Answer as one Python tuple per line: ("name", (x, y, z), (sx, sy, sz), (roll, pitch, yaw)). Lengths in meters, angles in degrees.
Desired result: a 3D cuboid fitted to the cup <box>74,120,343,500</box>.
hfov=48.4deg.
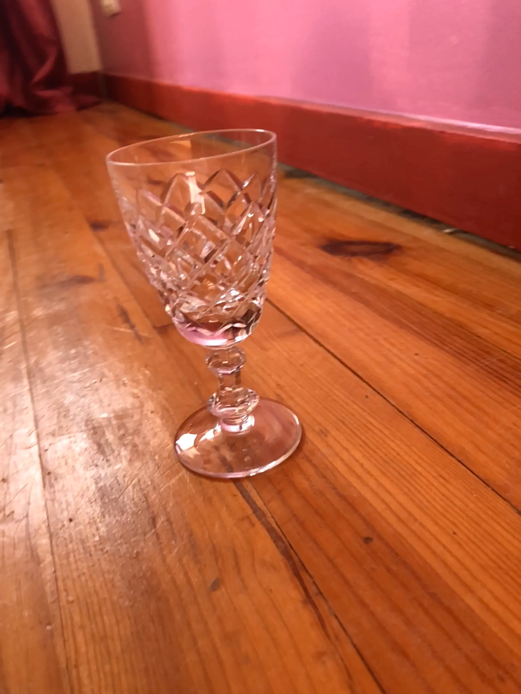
("cup", (-0.010, -0.015, 0.207), (0.056, 0.113, 0.060), (-5, 27, 3))
